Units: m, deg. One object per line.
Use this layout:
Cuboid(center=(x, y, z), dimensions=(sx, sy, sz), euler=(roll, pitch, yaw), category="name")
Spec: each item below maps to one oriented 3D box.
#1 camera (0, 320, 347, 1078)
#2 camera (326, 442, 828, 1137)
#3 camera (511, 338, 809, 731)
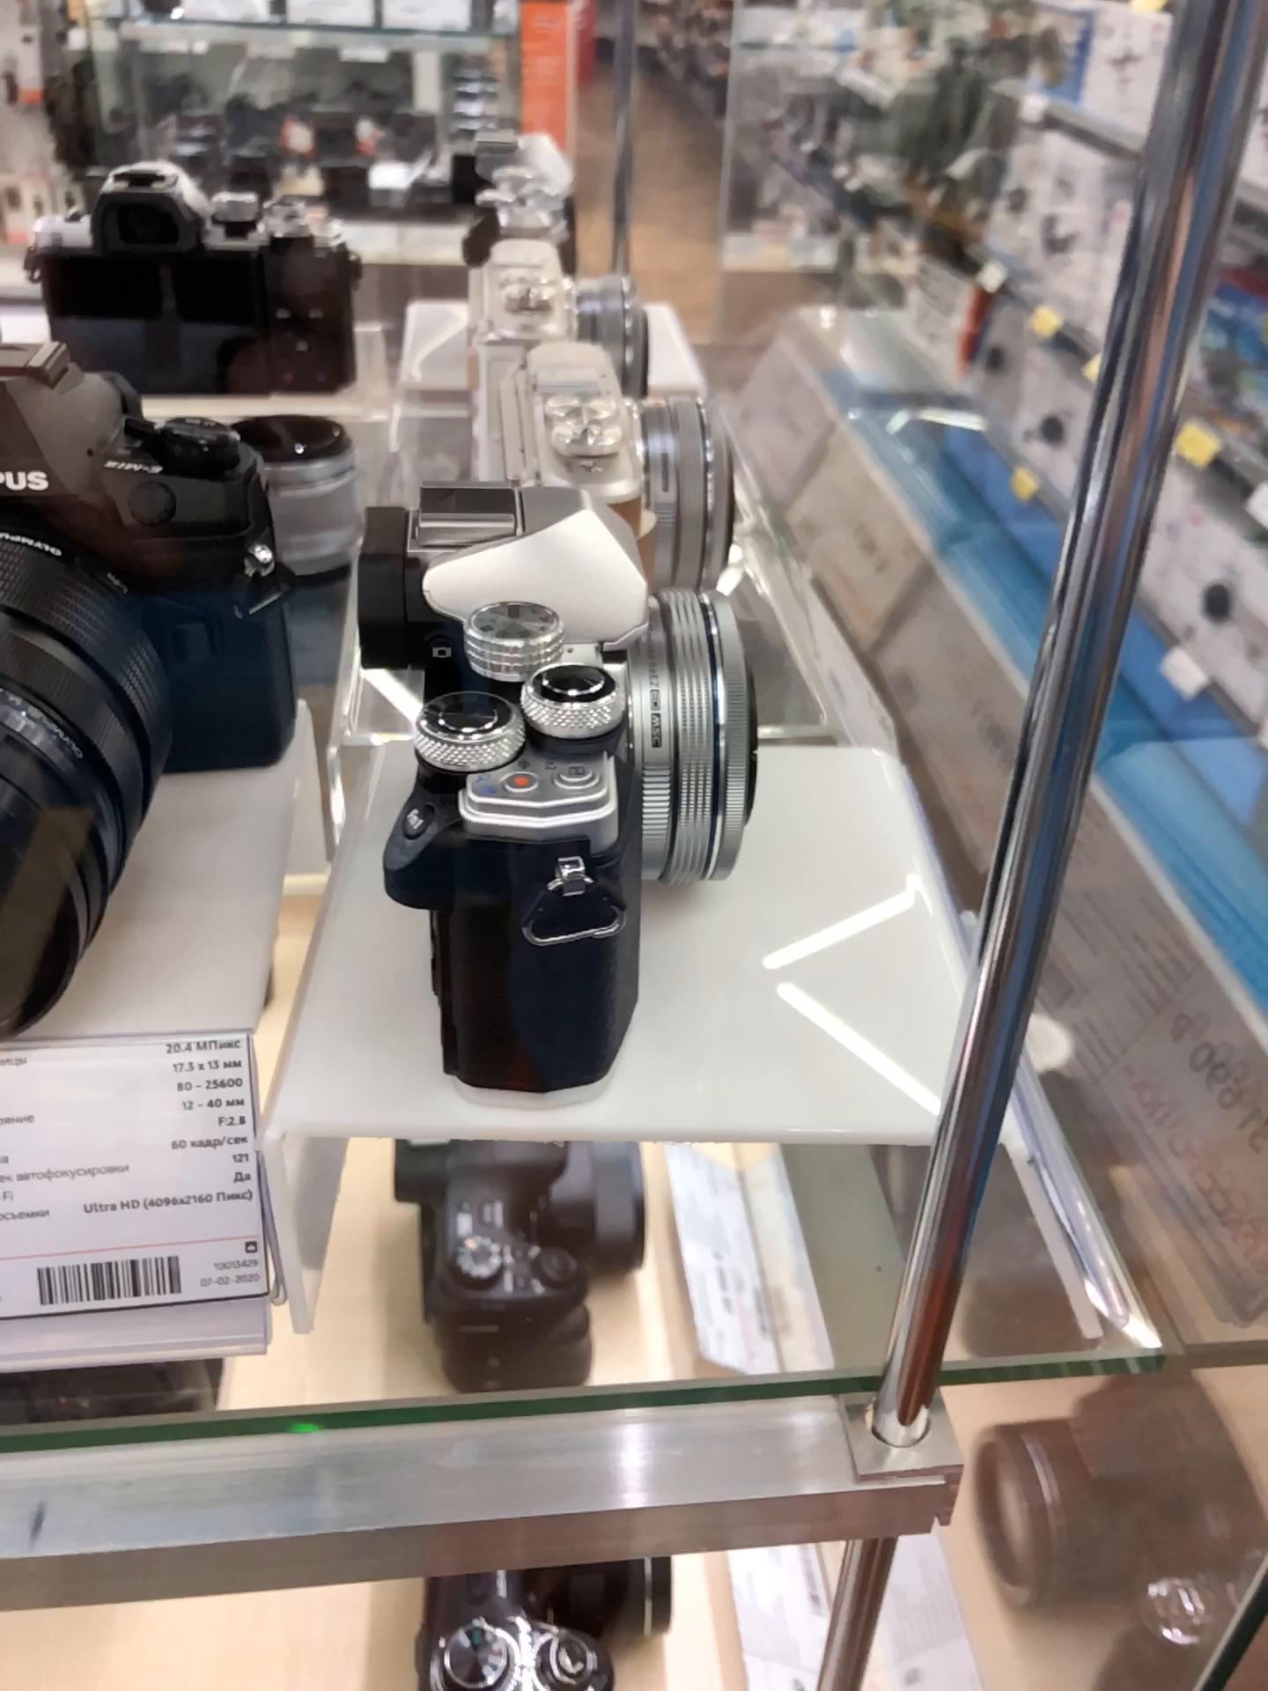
Cuboid(center=(-0.115, -0.037, 0.272), dimensions=(0.102, 0.087, 0.137), euler=(-1, 34, -6), category="camera")
Cuboid(center=(-0.016, -0.018, 0.273), dimensions=(0.071, 0.080, 0.121), euler=(-2, 34, -7), category="camera")
Cuboid(center=(0.000, -0.096, 0.410), dimensions=(0.065, 0.062, 0.140), euler=(-2, 34, -7), category="camera")
